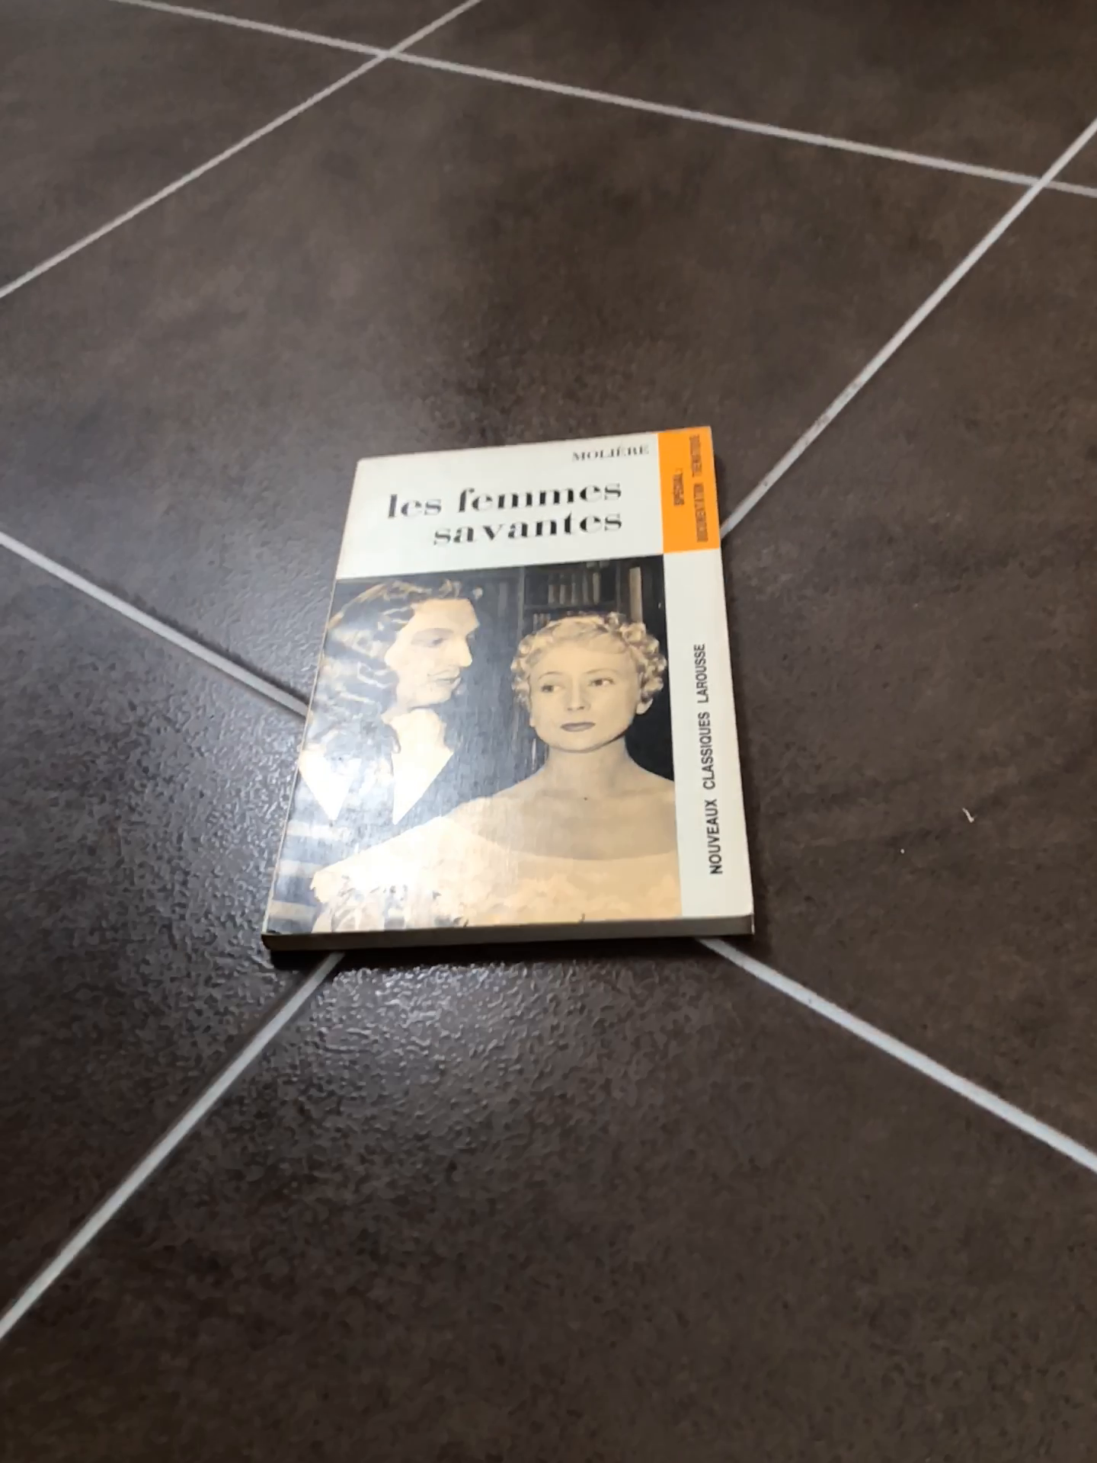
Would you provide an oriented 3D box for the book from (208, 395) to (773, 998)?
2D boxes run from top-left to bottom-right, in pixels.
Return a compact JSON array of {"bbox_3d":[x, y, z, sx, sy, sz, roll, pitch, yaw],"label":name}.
[{"bbox_3d":[-0.010,-0.018,0.312,0.120,0.020,0.171,-3,54,7],"label":"book"}]
